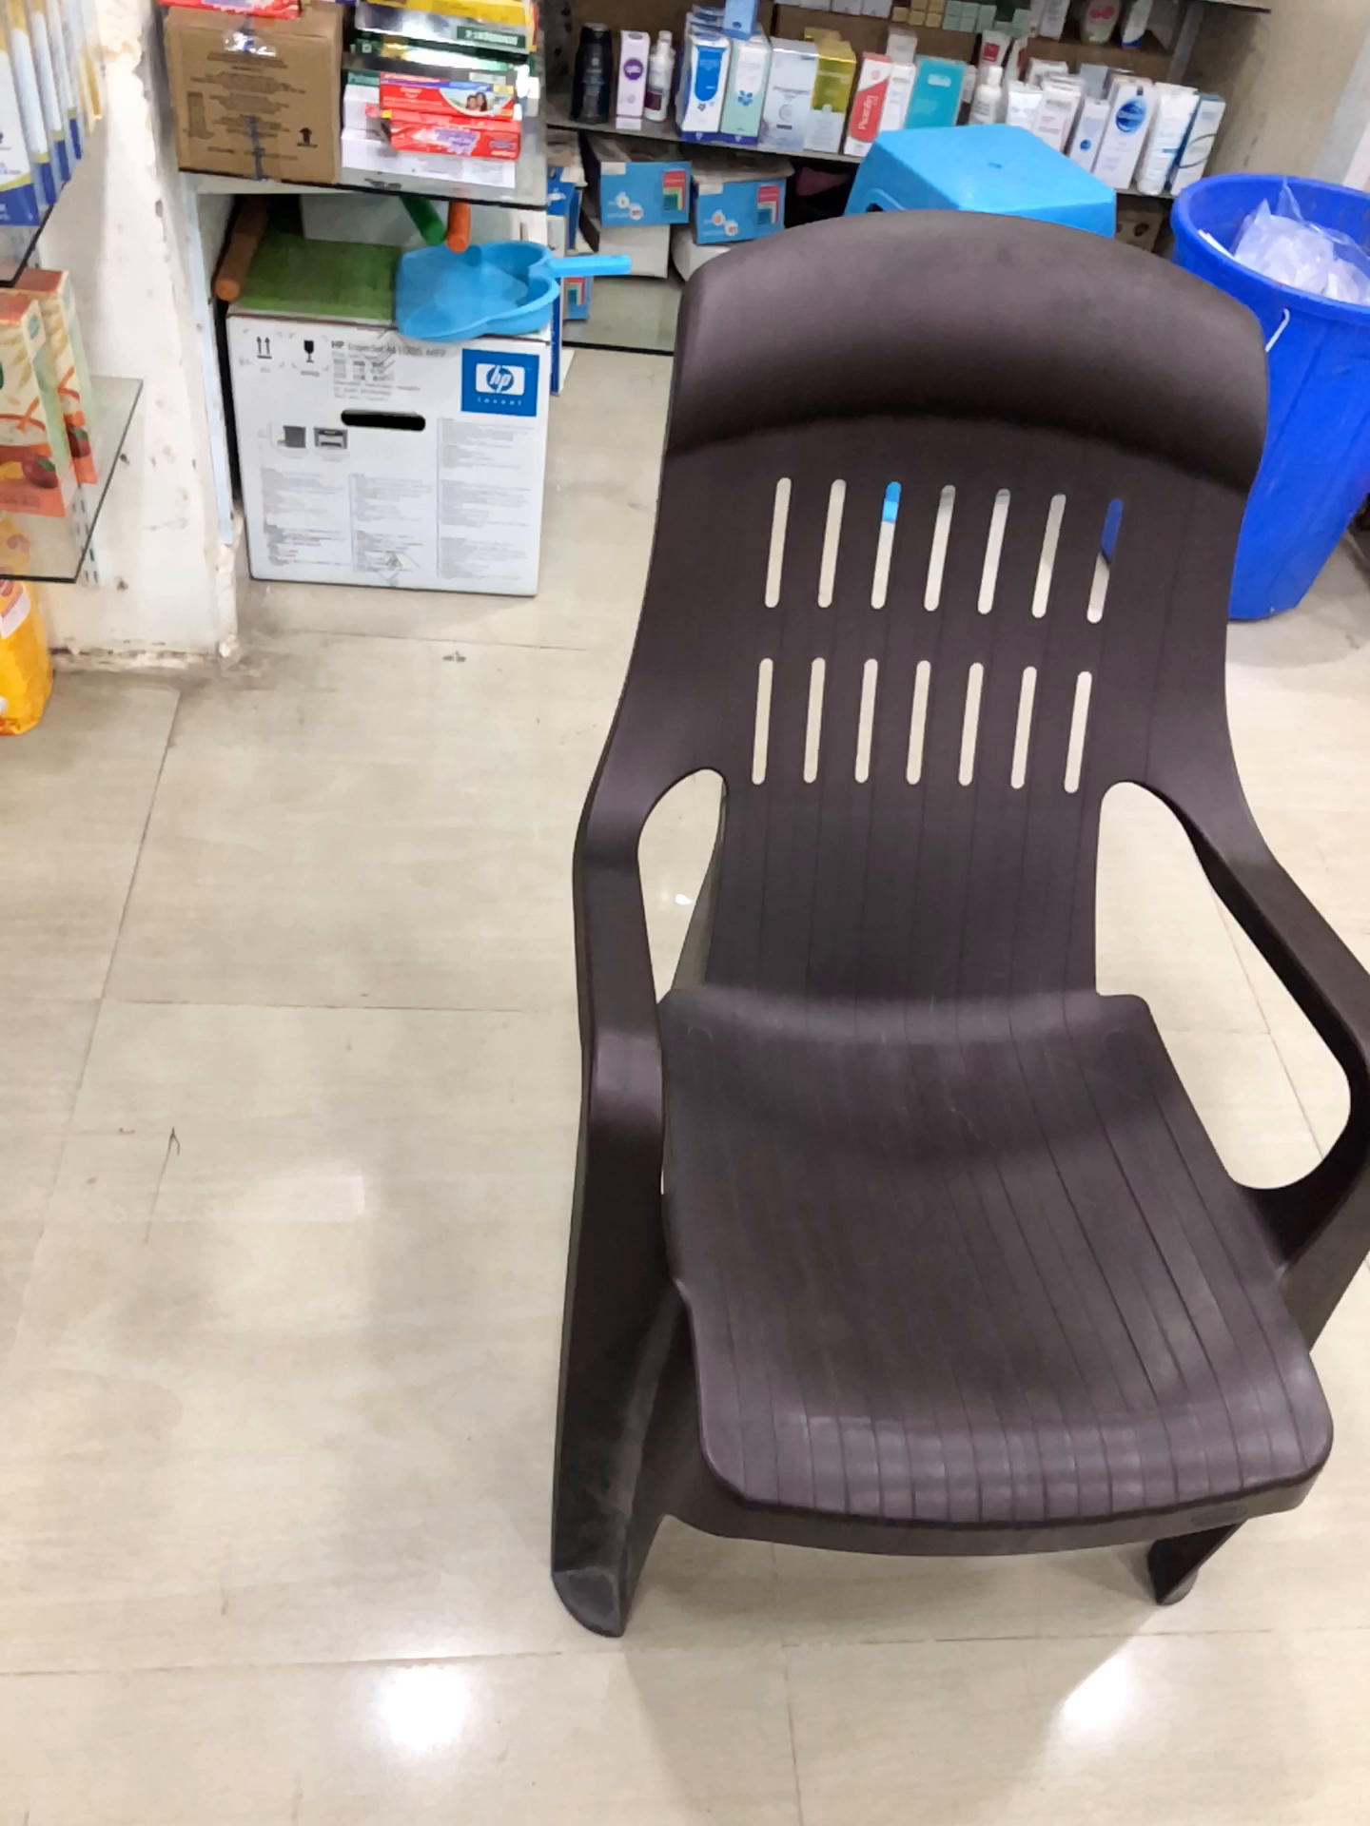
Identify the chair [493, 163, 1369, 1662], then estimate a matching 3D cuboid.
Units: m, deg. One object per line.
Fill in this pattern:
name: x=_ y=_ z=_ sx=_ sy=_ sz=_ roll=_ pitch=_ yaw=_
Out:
chair: x=0.190 y=0.038 z=1.132 sx=0.631 sy=0.844 sz=0.684 roll=1 pitch=46 yaw=-9
